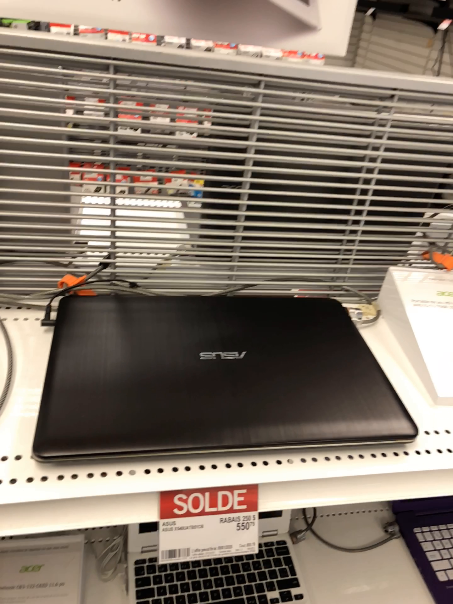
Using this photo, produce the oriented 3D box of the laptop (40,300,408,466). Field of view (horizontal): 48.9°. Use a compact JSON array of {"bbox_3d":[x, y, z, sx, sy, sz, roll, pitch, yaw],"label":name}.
[{"bbox_3d":[-0.003,0.073,0.578,0.367,0.013,0.235,1,35,-14],"label":"laptop"}]
